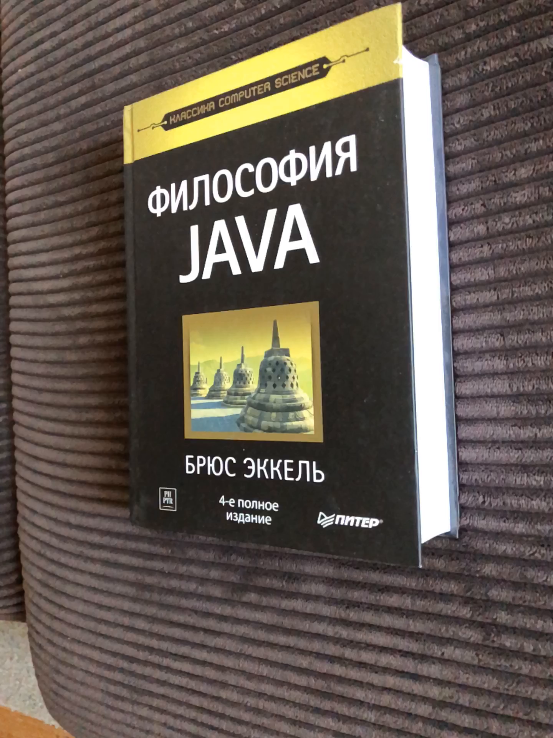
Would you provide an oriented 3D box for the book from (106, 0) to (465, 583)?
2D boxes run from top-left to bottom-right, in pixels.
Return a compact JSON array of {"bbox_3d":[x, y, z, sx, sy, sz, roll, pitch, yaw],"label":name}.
[{"bbox_3d":[-0.002,-0.031,0.316,0.172,0.060,0.239,-3,89,32],"label":"book"}]
